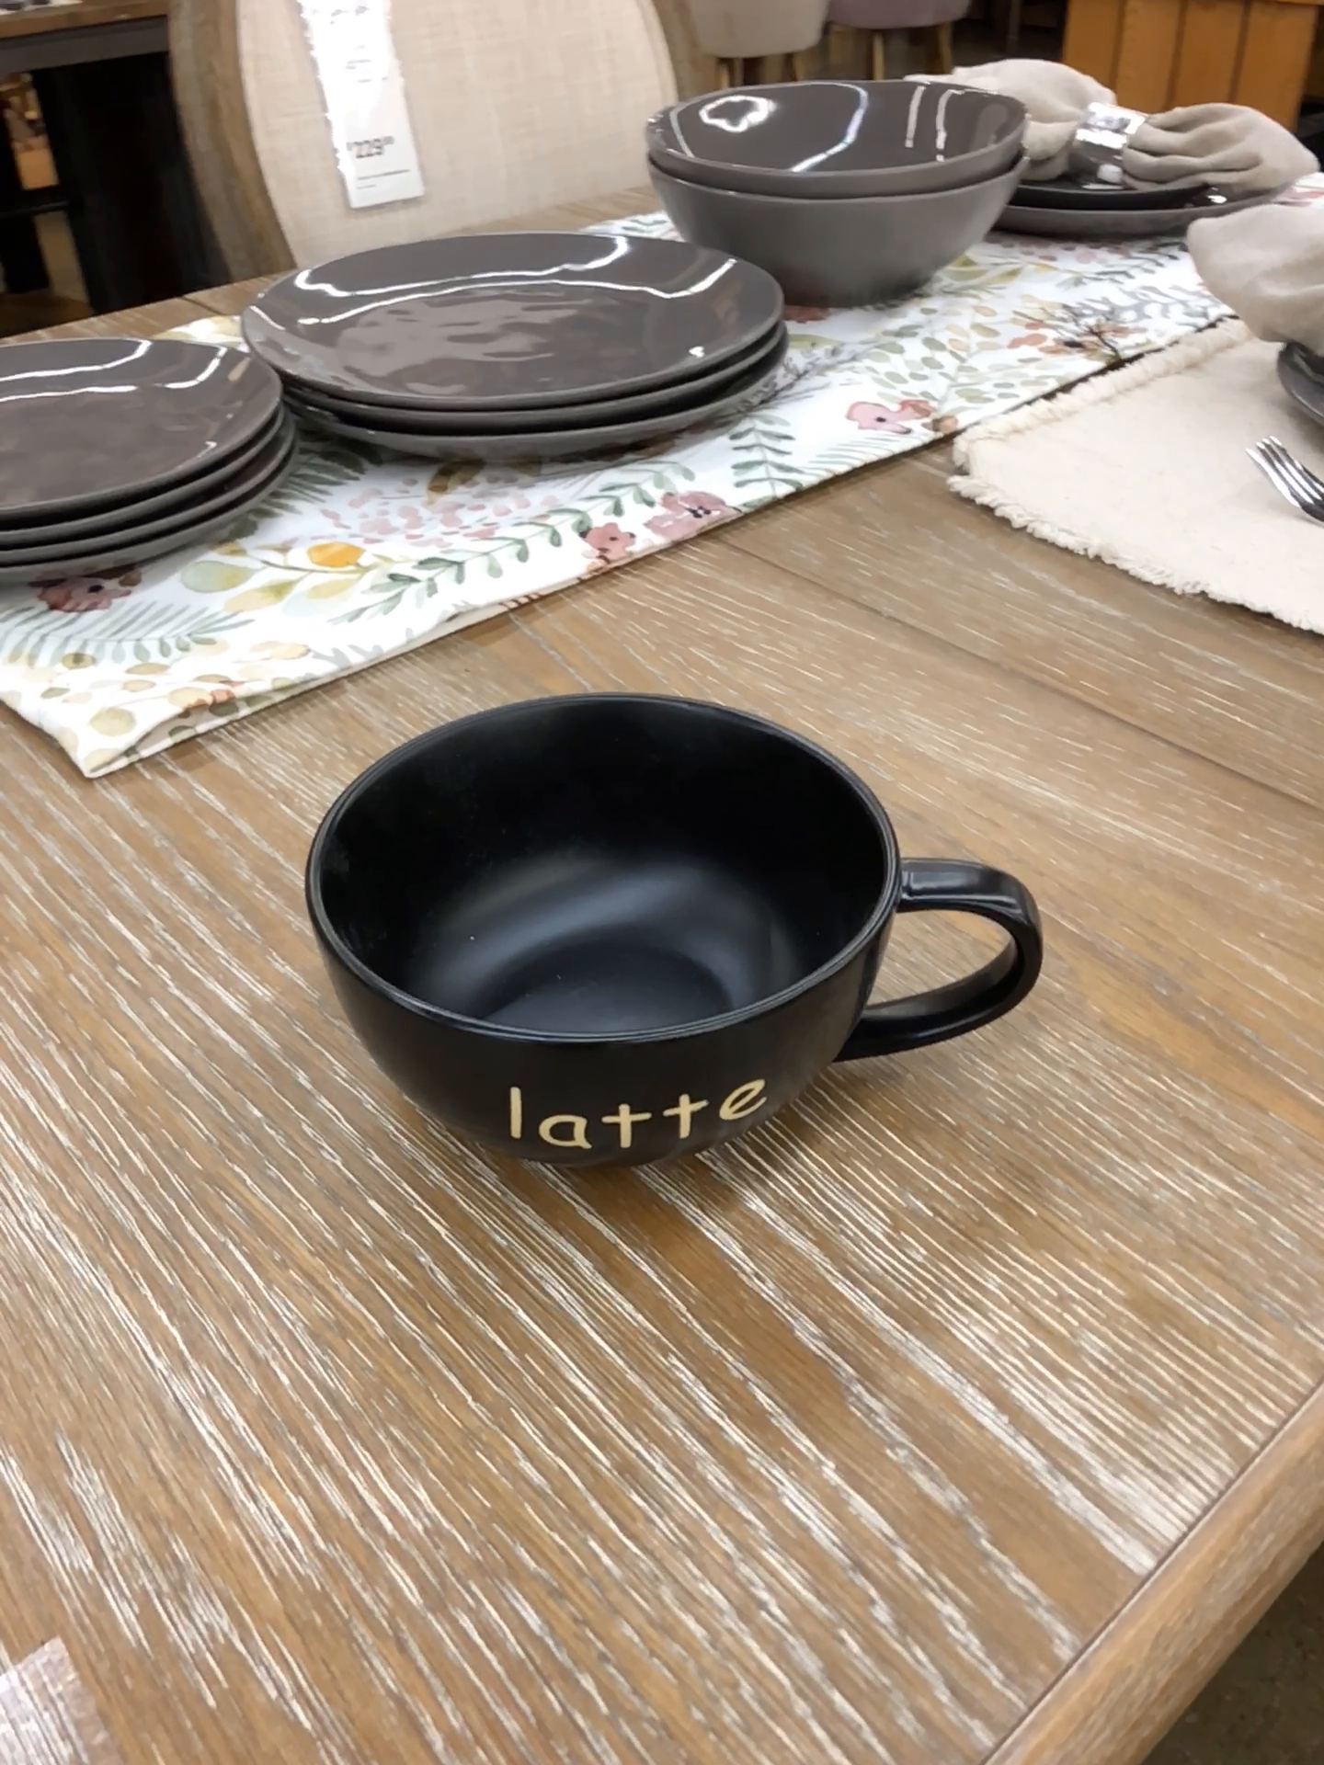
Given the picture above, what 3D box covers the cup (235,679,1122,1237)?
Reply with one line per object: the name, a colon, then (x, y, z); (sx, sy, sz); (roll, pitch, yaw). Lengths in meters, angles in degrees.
cup: (0.007, 0.010, 0.357); (0.174, 0.054, 0.138); (2, 37, 5)
